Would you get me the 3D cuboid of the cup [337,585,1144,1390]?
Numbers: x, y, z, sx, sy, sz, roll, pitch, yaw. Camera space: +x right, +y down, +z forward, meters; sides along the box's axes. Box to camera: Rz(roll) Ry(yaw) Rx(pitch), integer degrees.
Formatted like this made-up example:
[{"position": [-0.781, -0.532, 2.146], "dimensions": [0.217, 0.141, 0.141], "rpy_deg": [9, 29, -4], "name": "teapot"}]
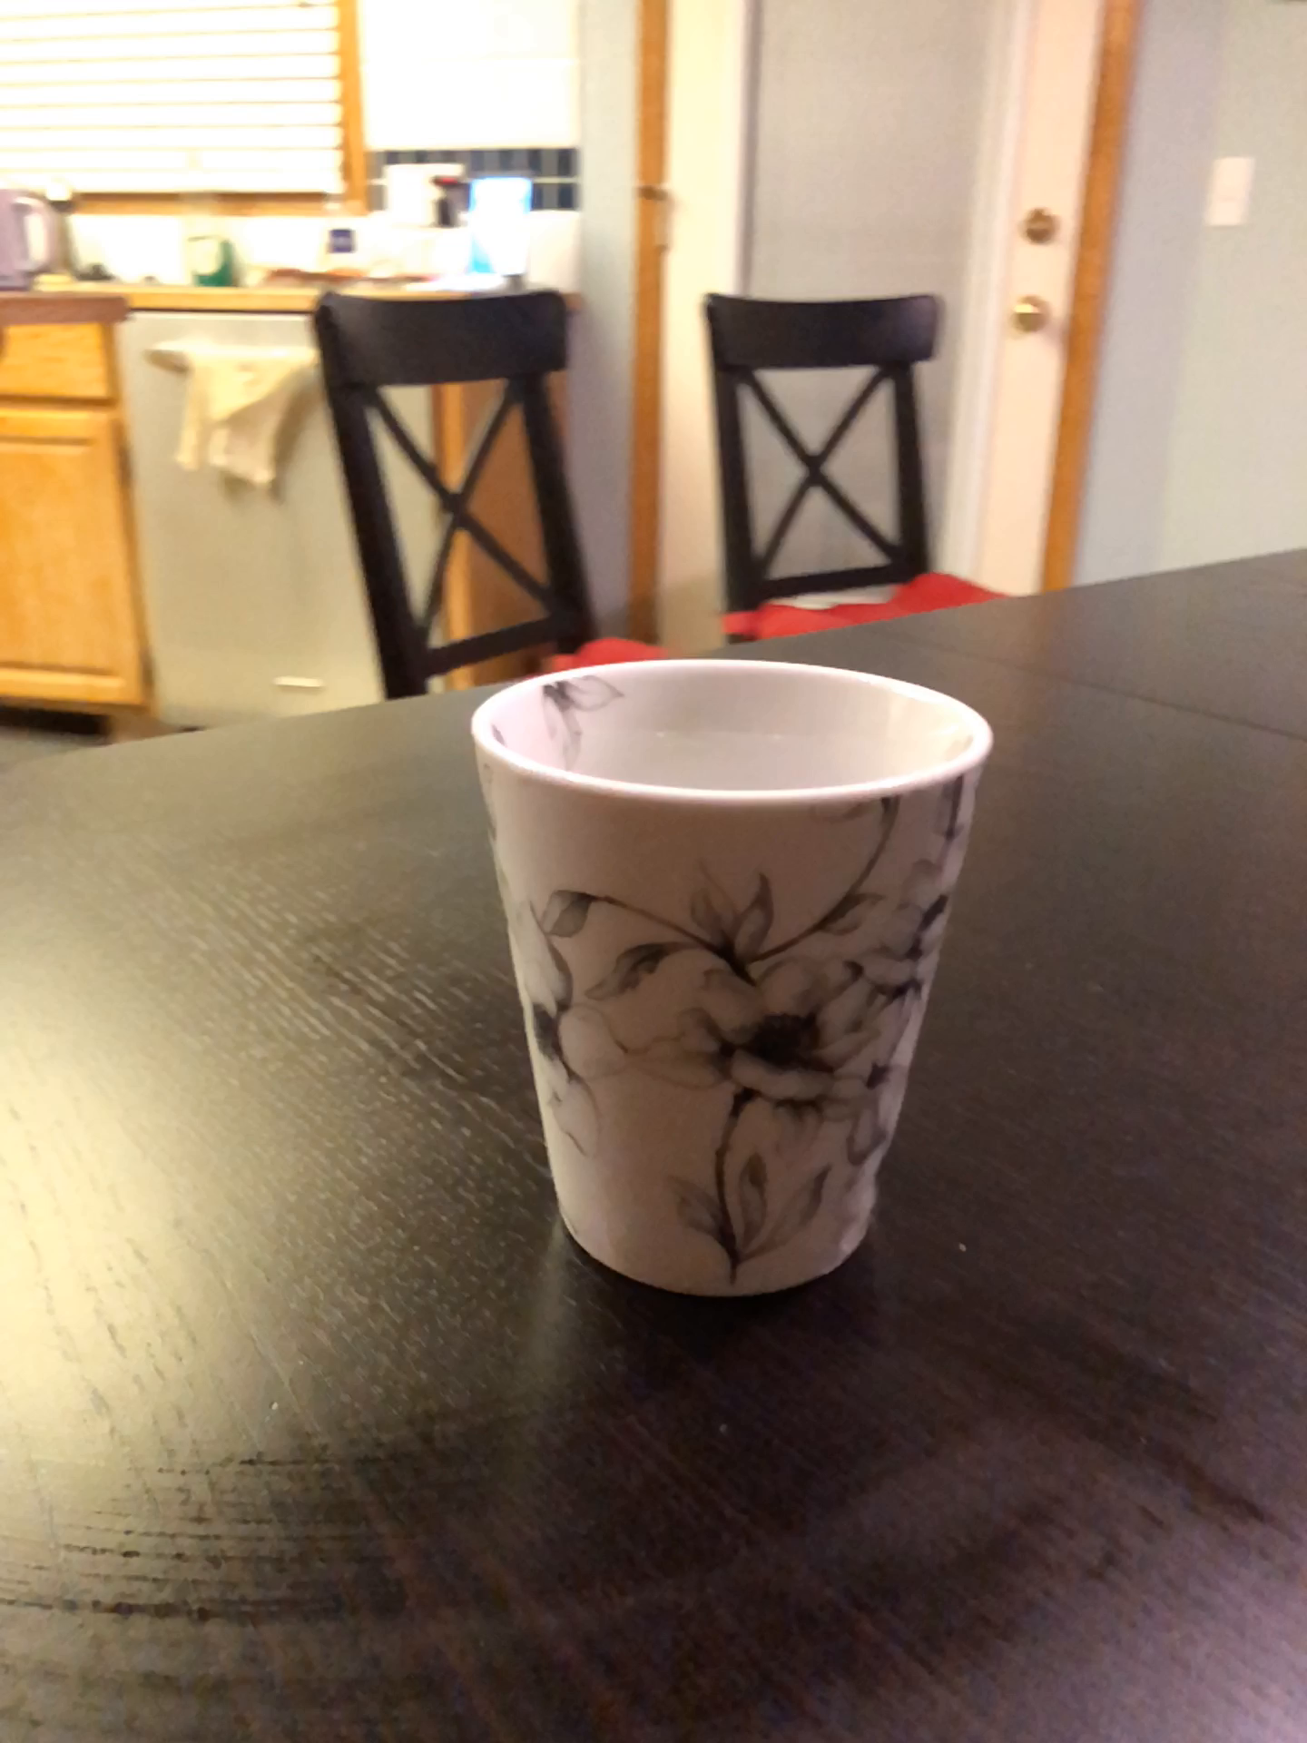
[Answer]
[{"position": [0.020, 0.007, 0.287], "dimensions": [0.100, 0.100, 0.120], "rpy_deg": [15, 25, 33], "name": "cup"}]
